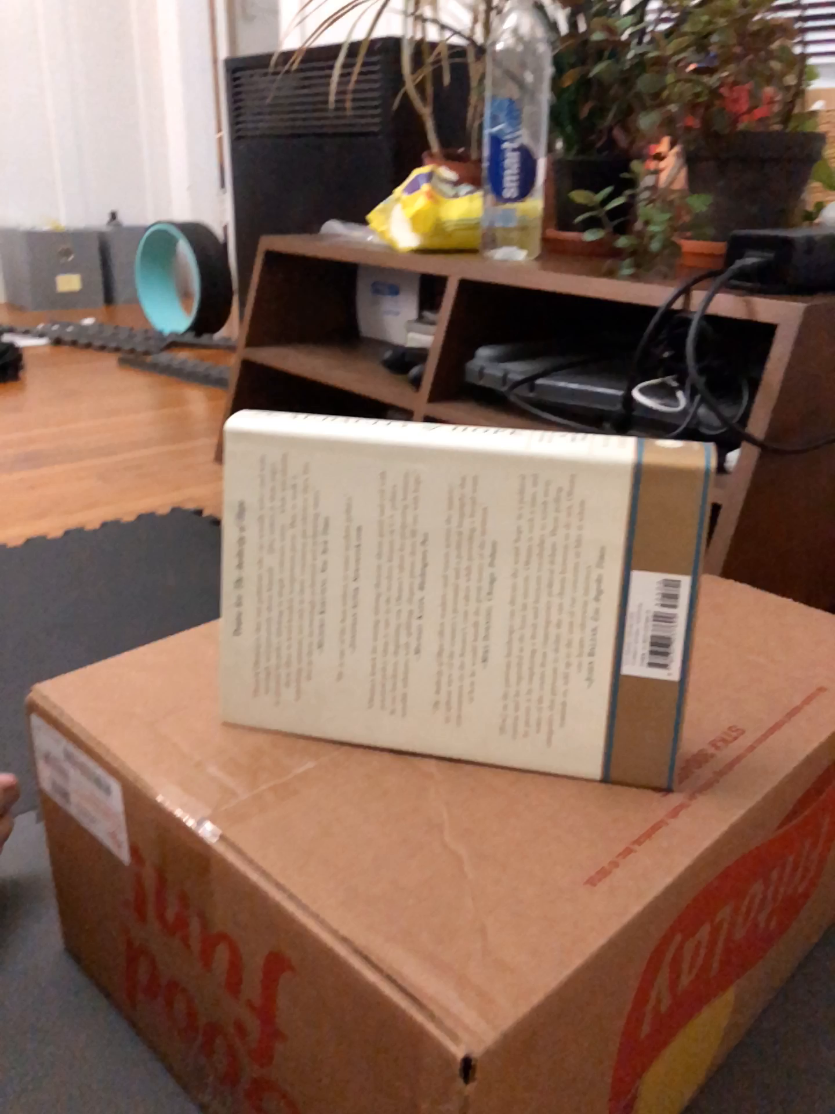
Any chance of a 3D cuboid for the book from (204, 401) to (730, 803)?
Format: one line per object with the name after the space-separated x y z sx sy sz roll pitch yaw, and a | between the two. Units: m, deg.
0.019 0.016 0.485 0.250 0.170 0.060 7 12 12 | book
